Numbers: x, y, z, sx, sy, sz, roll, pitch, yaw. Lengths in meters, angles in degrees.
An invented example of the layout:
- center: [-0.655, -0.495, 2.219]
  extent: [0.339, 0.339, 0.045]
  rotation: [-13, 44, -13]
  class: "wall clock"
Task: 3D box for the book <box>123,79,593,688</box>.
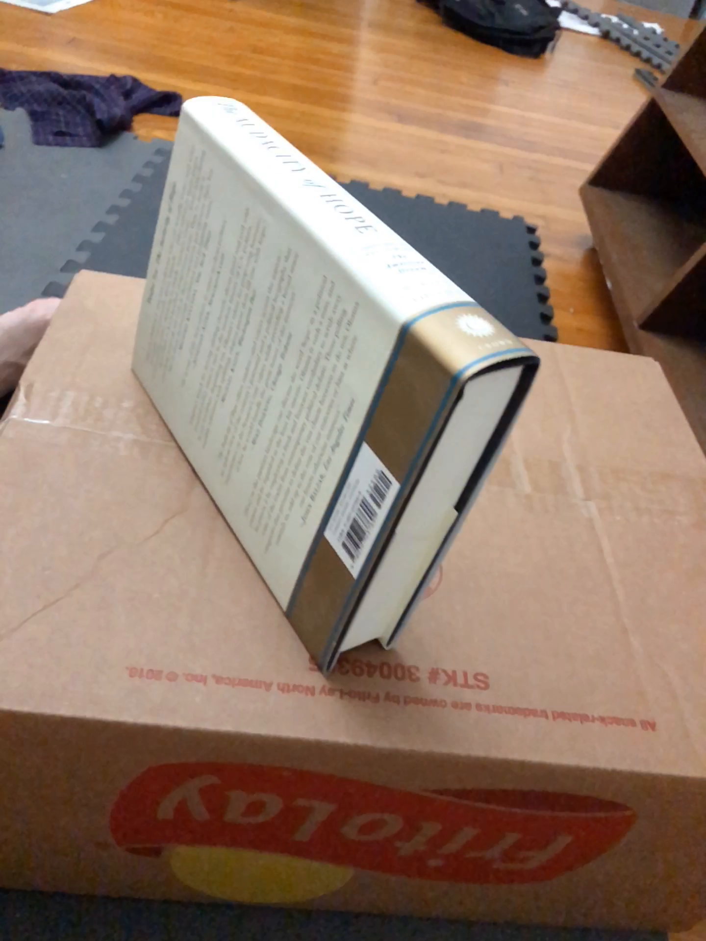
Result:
- center: [-0.028, -0.052, 0.386]
  extent: [0.060, 0.169, 0.251]
  rotation: [-7, 46, -37]
  class: "book"
